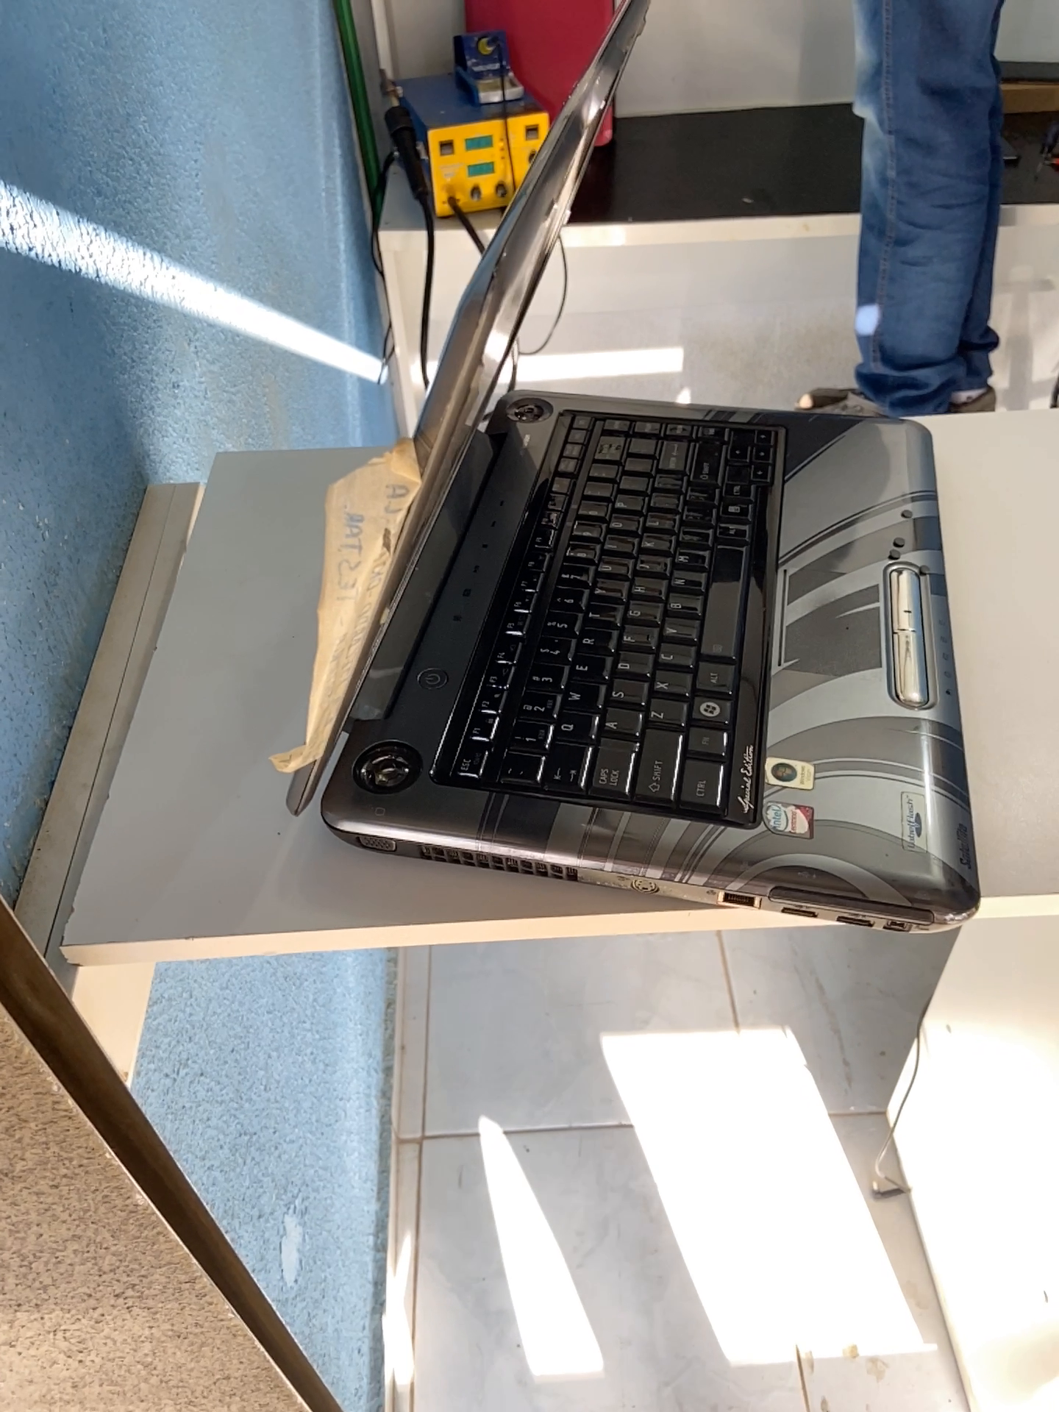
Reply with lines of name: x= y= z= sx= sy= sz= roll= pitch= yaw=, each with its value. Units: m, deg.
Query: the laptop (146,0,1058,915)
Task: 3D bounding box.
laptop: x=0.068 y=-0.145 z=0.473 sx=0.258 sy=0.235 sz=0.360 roll=7 pitch=46 yaw=10
